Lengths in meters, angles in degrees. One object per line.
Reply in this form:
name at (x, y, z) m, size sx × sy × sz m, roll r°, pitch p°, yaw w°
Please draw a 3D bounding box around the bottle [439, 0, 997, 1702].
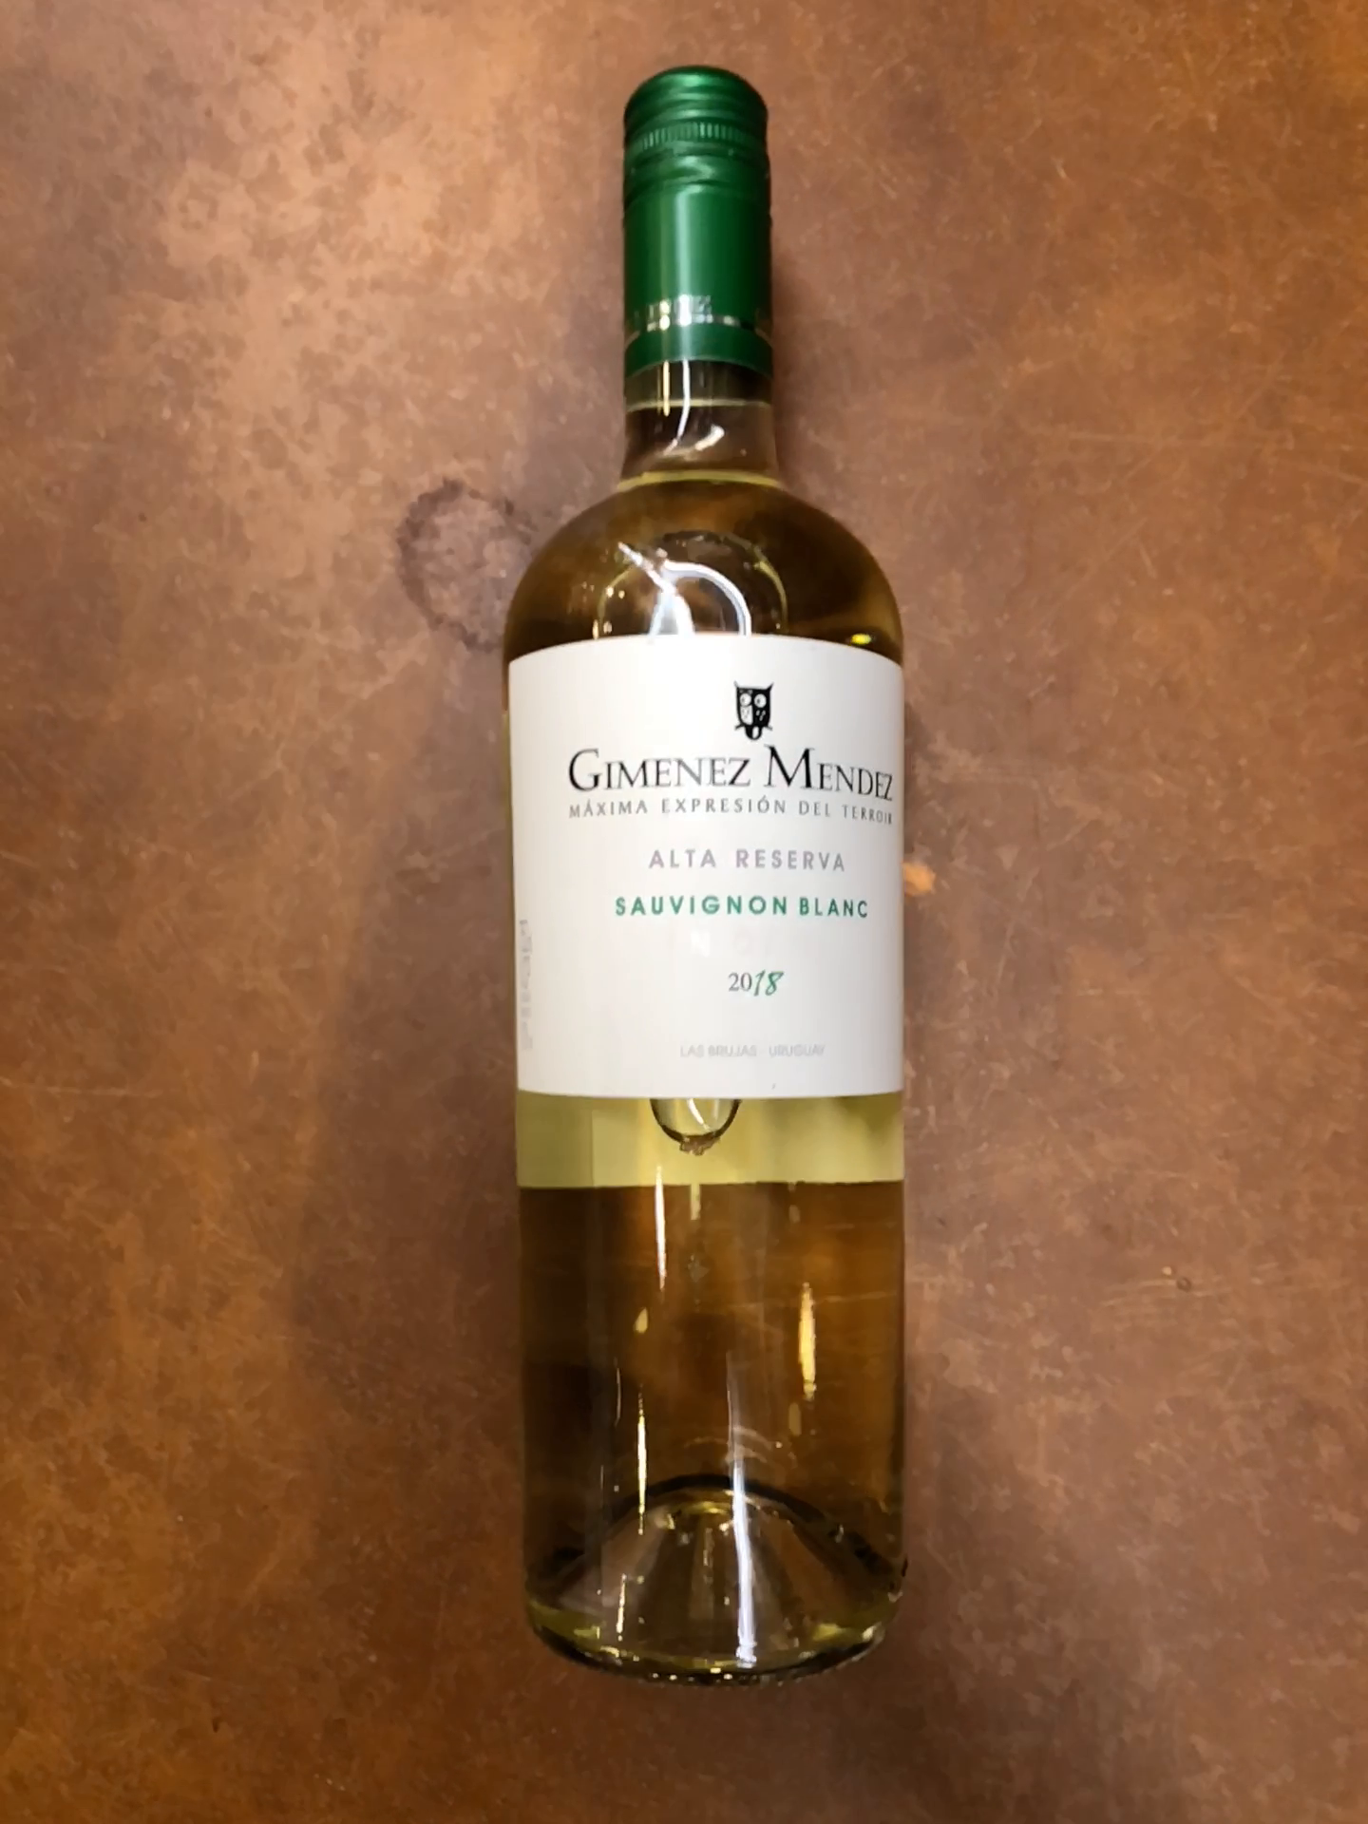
bottle at (0.005, -0.020, 0.285) m, size 0.090 × 0.050 × 0.300 m, roll -1°, pitch 85°, yaw 4°
